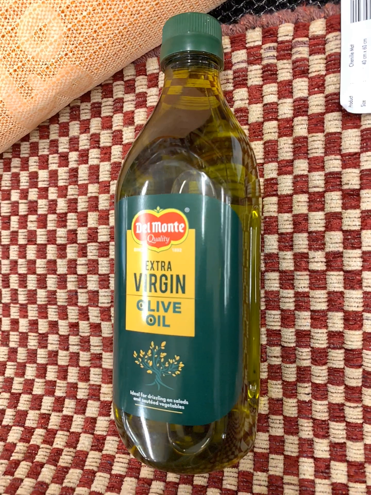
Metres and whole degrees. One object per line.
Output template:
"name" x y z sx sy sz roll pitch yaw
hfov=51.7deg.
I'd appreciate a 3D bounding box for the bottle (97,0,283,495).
"bottle" 0.008 -0.011 0.220 0.080 0.080 0.250 2 91 13
